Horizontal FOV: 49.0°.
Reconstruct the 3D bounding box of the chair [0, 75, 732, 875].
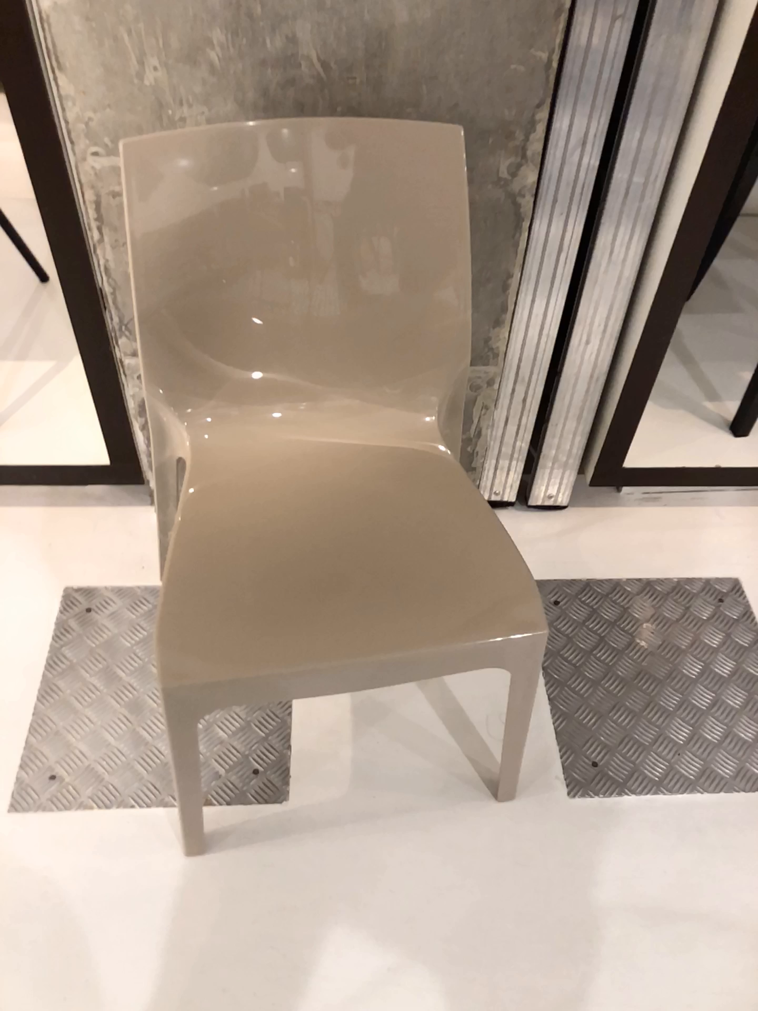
[{"bbox_3d":[-0.076,-0.001,1.068,0.550,0.824,0.564,-6,49,-9],"label":"chair"}]
